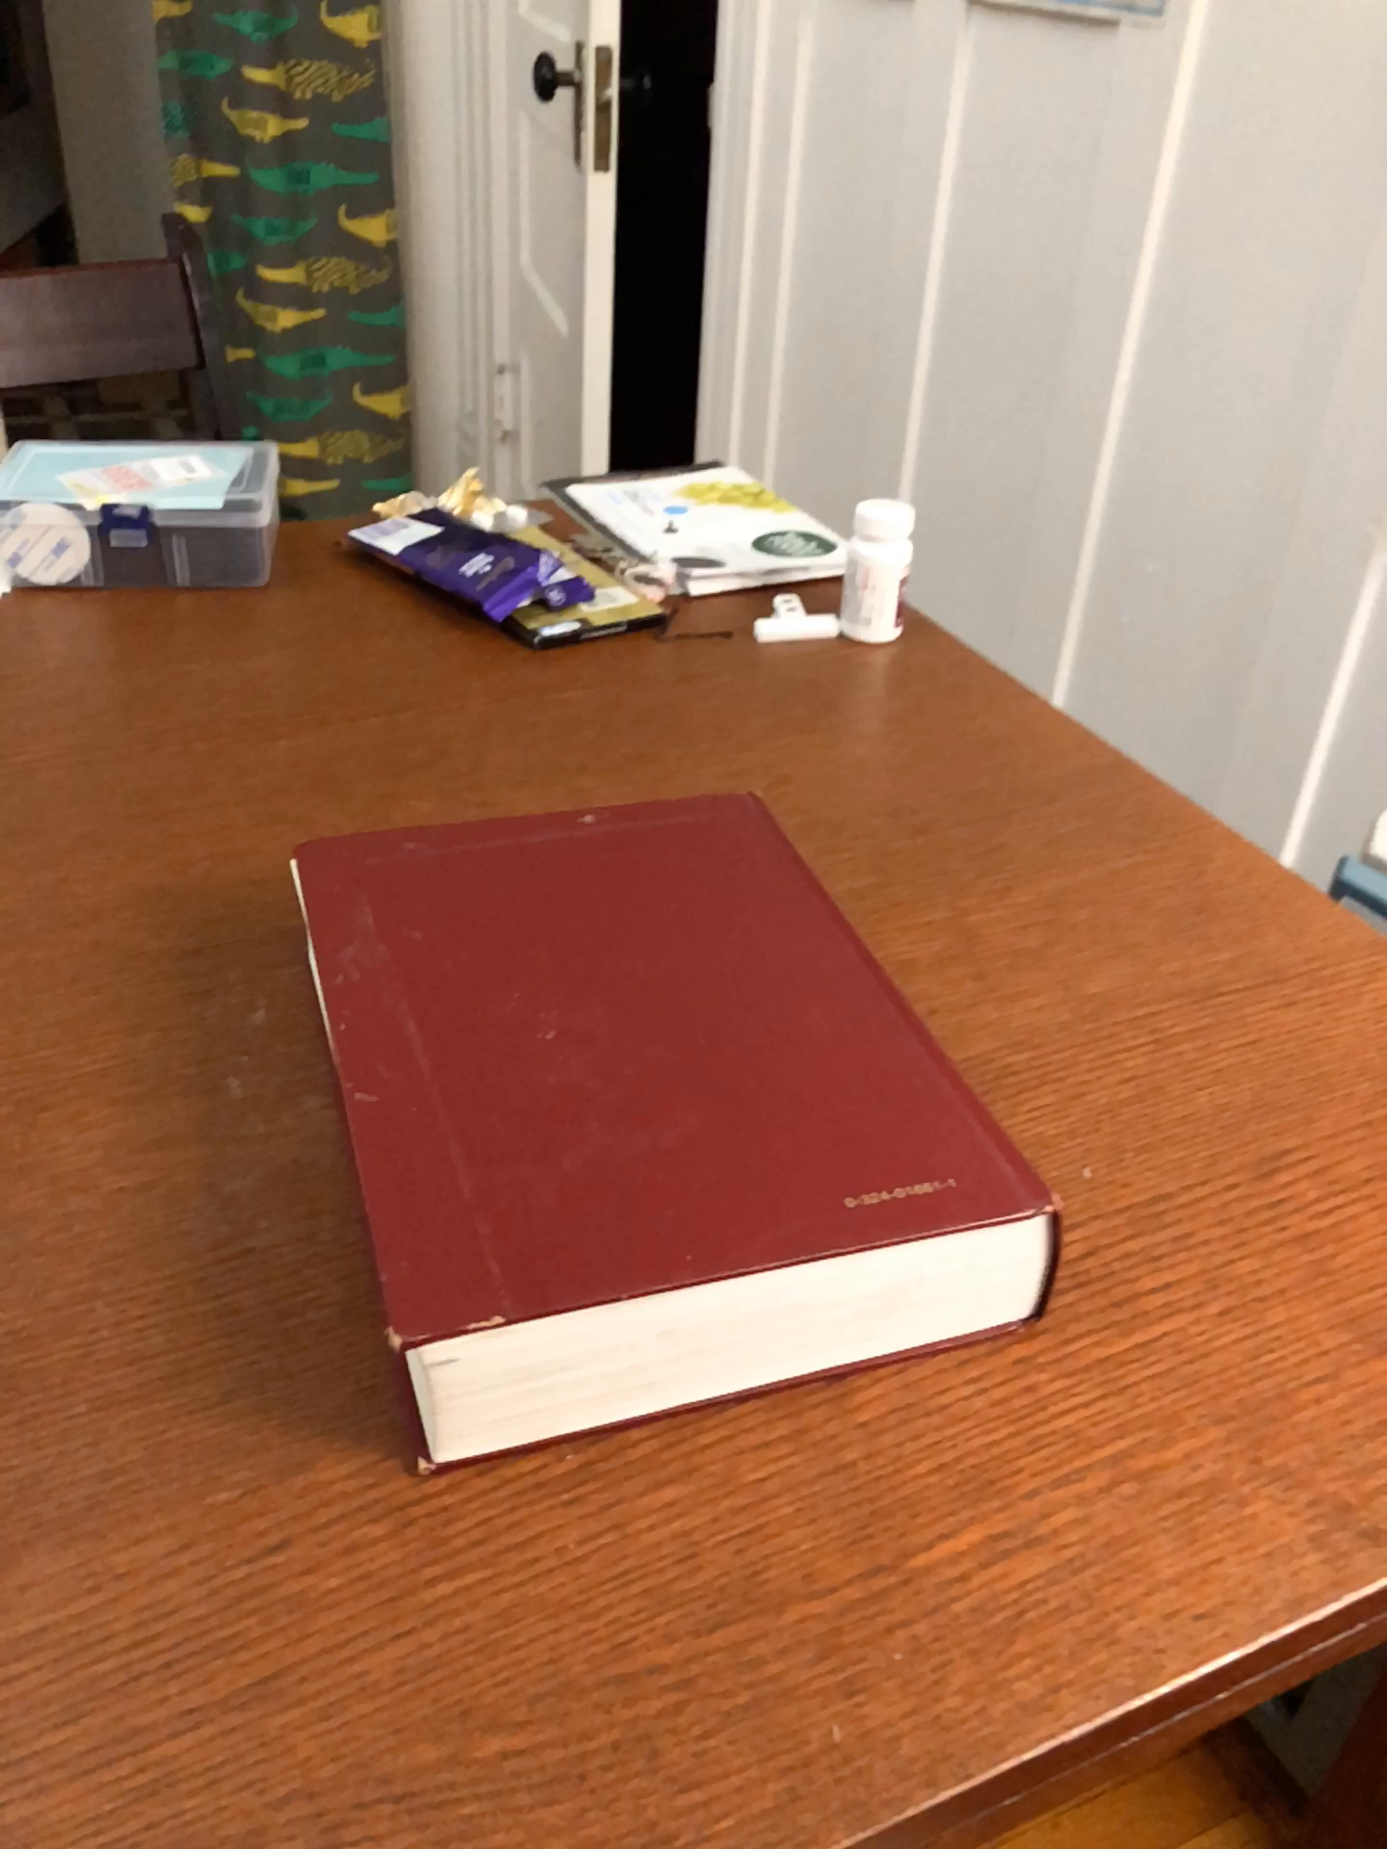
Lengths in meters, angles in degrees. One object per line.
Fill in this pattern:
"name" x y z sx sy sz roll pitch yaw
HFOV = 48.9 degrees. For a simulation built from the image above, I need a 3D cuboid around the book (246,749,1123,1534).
"book" -0.029 0.043 0.538 0.220 0.070 0.292 -8 34 -17
